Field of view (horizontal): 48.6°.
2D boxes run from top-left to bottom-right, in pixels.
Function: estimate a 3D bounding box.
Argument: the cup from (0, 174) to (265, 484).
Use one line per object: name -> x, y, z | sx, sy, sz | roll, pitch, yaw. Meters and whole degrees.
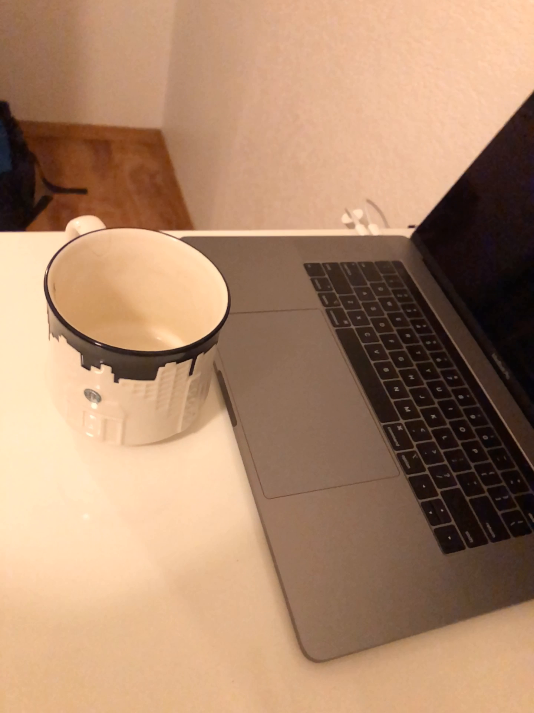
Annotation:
cup -> -0.100, -0.025, 0.384 | 0.110, 0.099, 0.150 | -24, 59, -33
